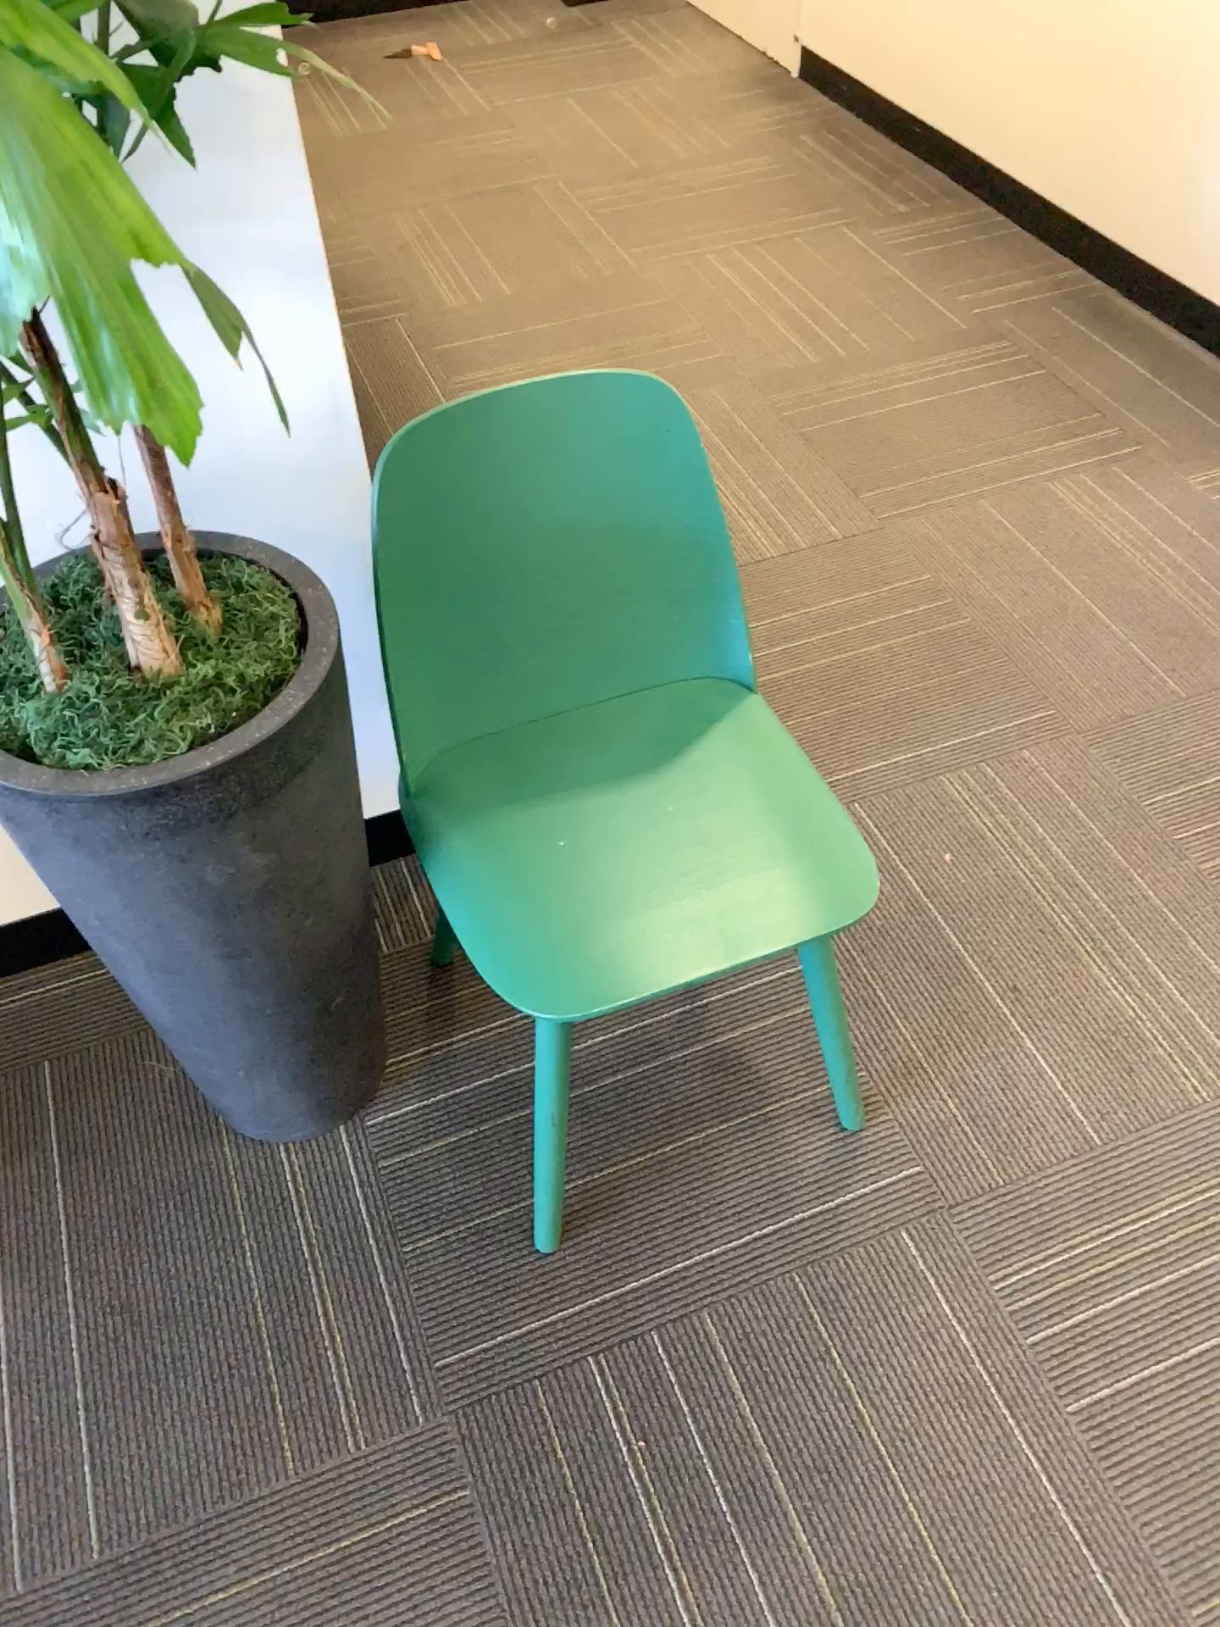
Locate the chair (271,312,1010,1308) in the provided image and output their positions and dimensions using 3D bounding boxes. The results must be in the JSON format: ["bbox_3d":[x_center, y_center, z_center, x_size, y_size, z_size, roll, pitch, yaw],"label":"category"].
[{"bbox_3d":[-0.020,-0.019,1.274,0.390,0.627,0.714,-16,49,-12],"label":"chair"}]
